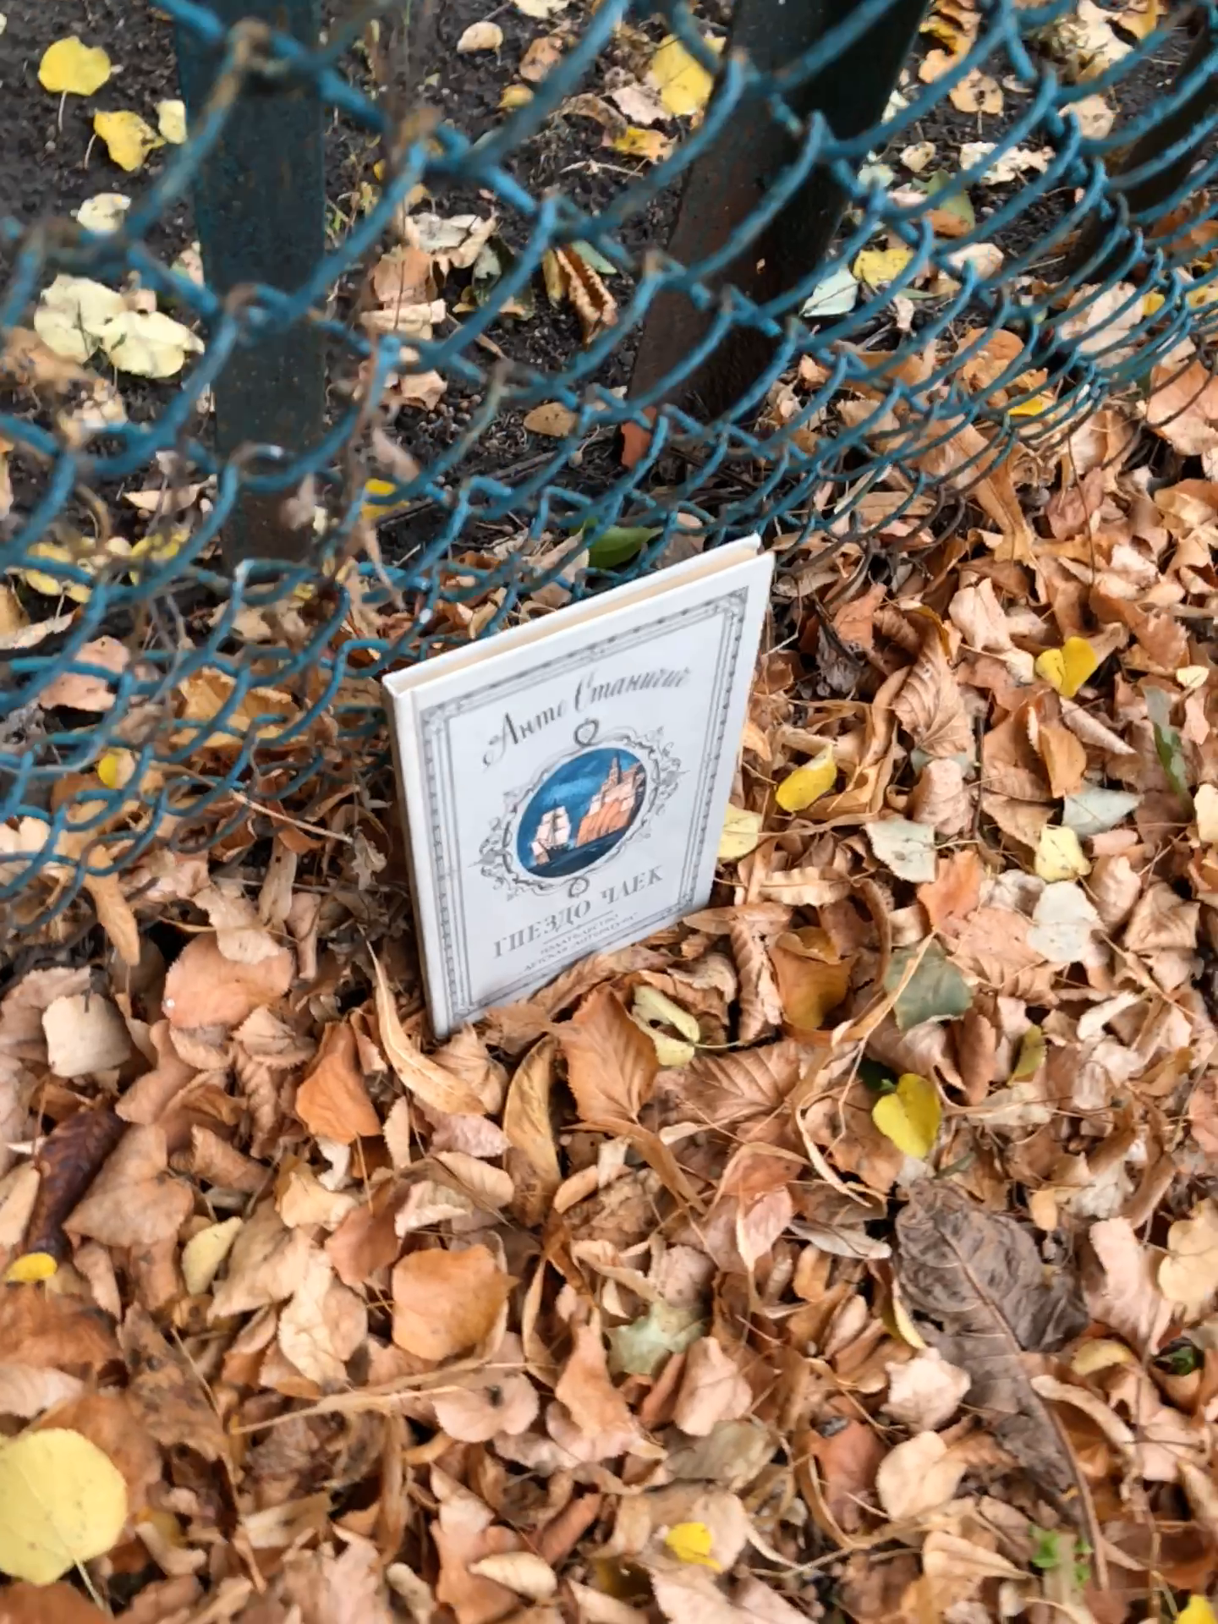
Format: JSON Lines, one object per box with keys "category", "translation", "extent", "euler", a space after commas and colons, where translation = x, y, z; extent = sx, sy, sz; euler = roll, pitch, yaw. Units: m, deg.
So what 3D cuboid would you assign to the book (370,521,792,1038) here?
{"category": "book", "translation": [-0.011, 0.000, 0.461], "extent": [0.128, 0.200, 0.016], "euler": [-23, 59, -19]}
